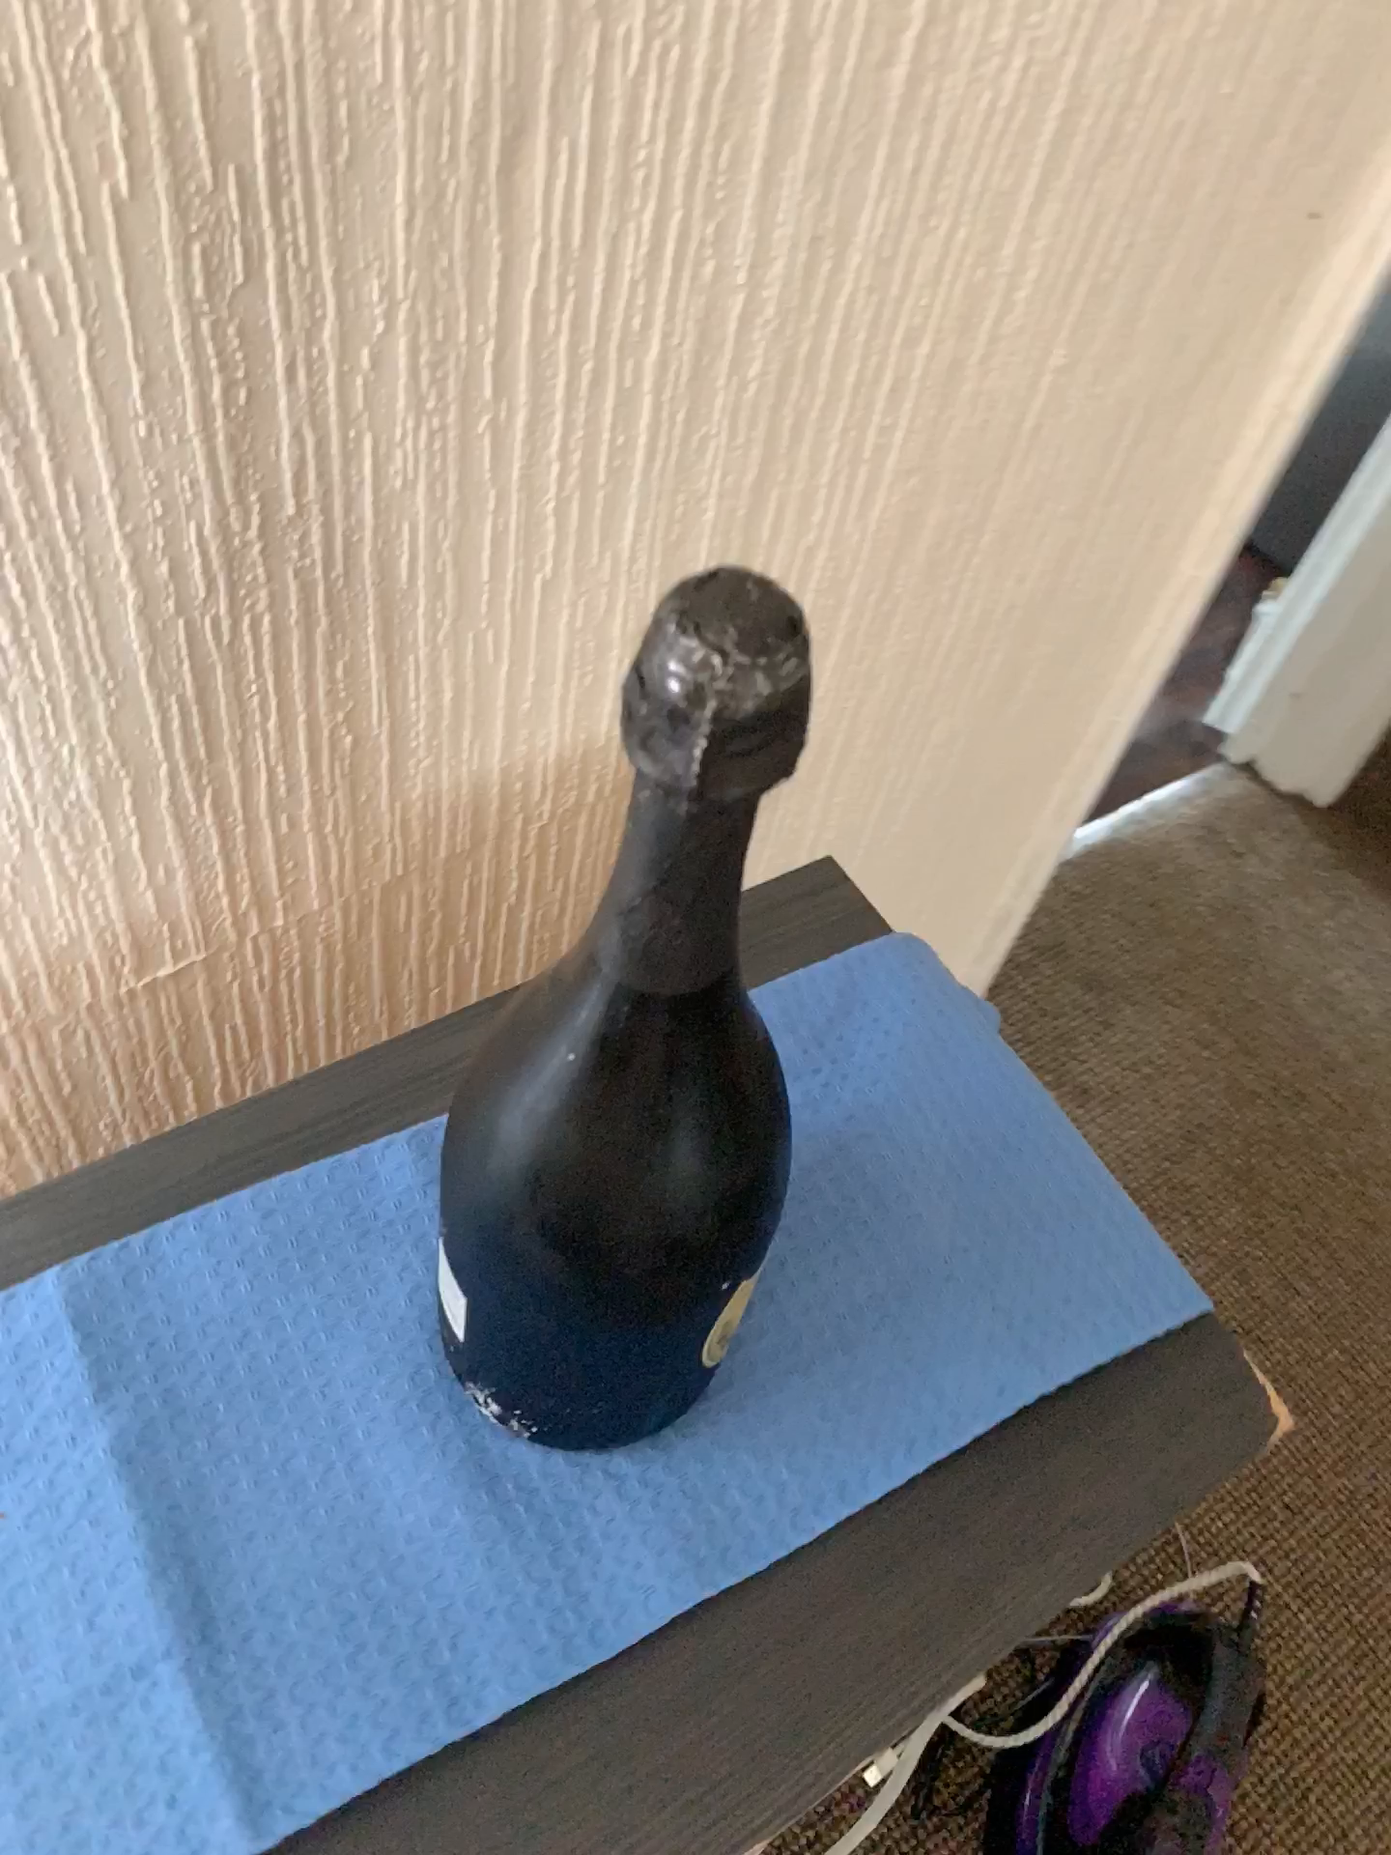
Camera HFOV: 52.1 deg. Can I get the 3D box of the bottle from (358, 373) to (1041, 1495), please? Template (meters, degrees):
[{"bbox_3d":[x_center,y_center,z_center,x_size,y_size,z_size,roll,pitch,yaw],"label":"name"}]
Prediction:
[{"bbox_3d":[-0.015,0.035,0.353,0.100,0.297,0.101,6,52,-7],"label":"bottle"}]
